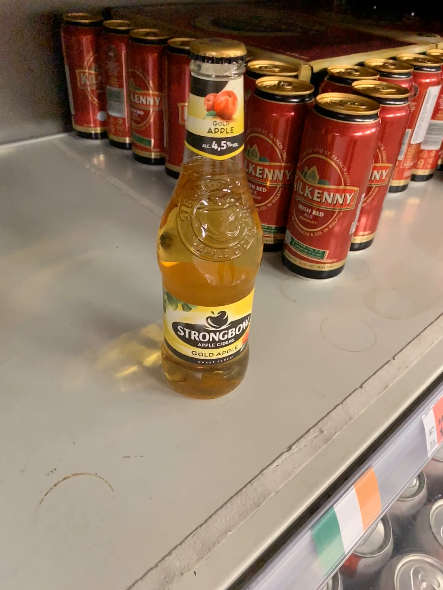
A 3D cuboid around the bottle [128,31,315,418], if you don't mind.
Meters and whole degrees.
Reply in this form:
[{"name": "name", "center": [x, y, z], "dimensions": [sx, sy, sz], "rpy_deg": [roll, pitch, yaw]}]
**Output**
[{"name": "bottle", "center": [-0.011, -0.032, 0.305], "dimensions": [0.080, 0.239, 0.080], "rpy_deg": [3, 37, -2]}]
